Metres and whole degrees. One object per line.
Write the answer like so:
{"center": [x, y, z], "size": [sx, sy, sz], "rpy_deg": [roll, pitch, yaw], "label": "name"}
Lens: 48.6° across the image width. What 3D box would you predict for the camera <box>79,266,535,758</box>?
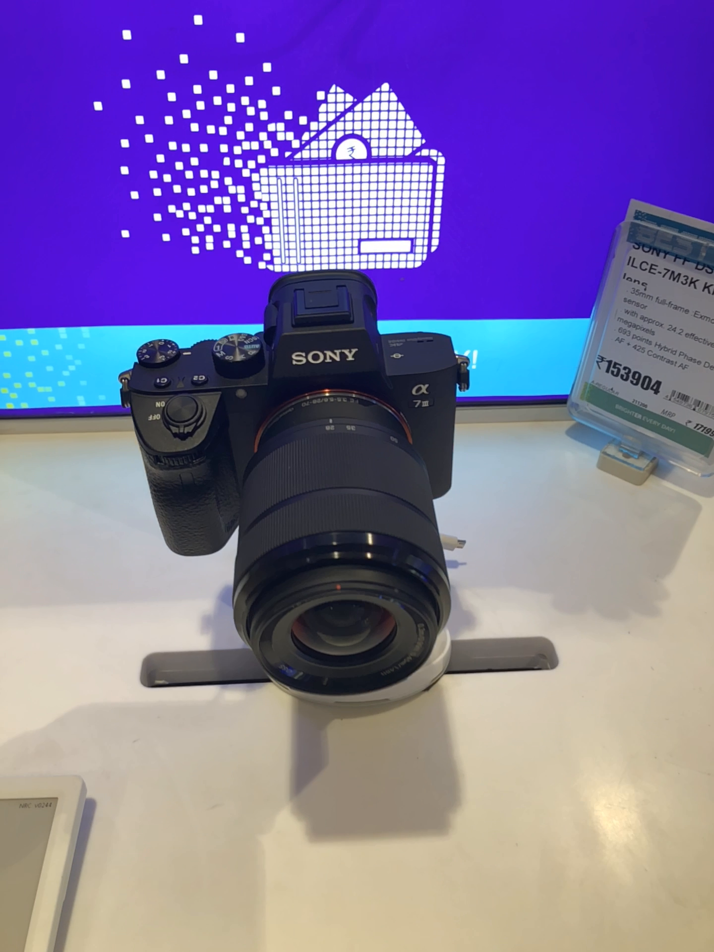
{"center": [-0.024, 0.006, 0.289], "size": [0.120, 0.109, 0.128], "rpy_deg": [-6, 41, -9], "label": "camera"}
